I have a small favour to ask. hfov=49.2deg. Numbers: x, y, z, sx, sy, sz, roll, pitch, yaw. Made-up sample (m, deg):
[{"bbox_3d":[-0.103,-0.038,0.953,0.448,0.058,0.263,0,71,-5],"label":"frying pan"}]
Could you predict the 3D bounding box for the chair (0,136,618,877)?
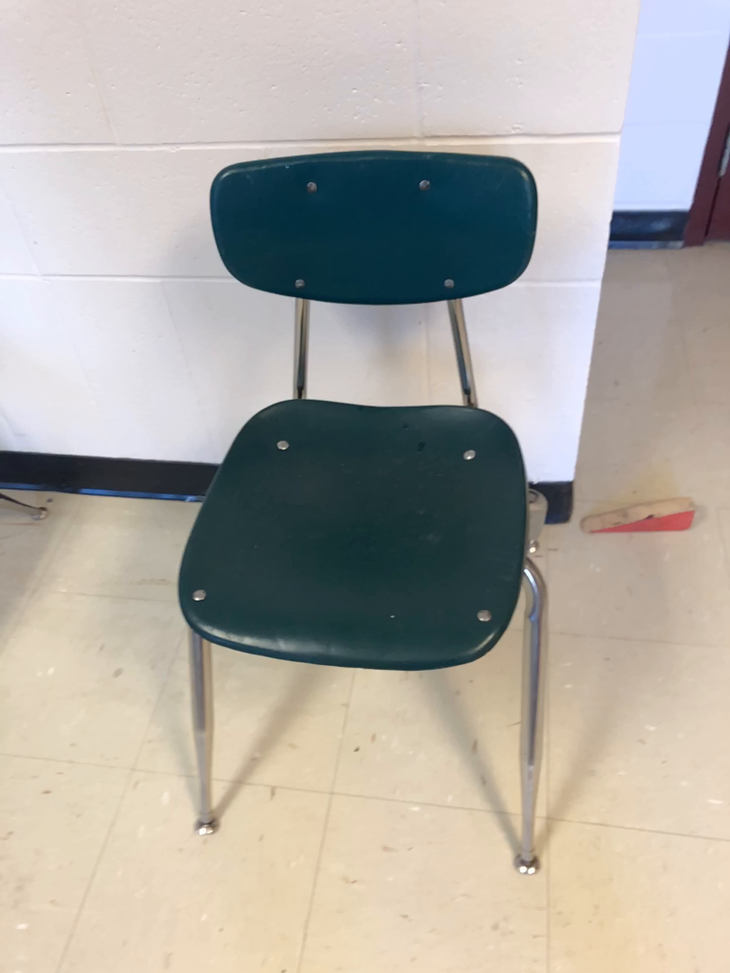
[{"bbox_3d":[0.008,0.034,1.020,0.480,0.696,0.593,2,46,10],"label":"chair"}]
